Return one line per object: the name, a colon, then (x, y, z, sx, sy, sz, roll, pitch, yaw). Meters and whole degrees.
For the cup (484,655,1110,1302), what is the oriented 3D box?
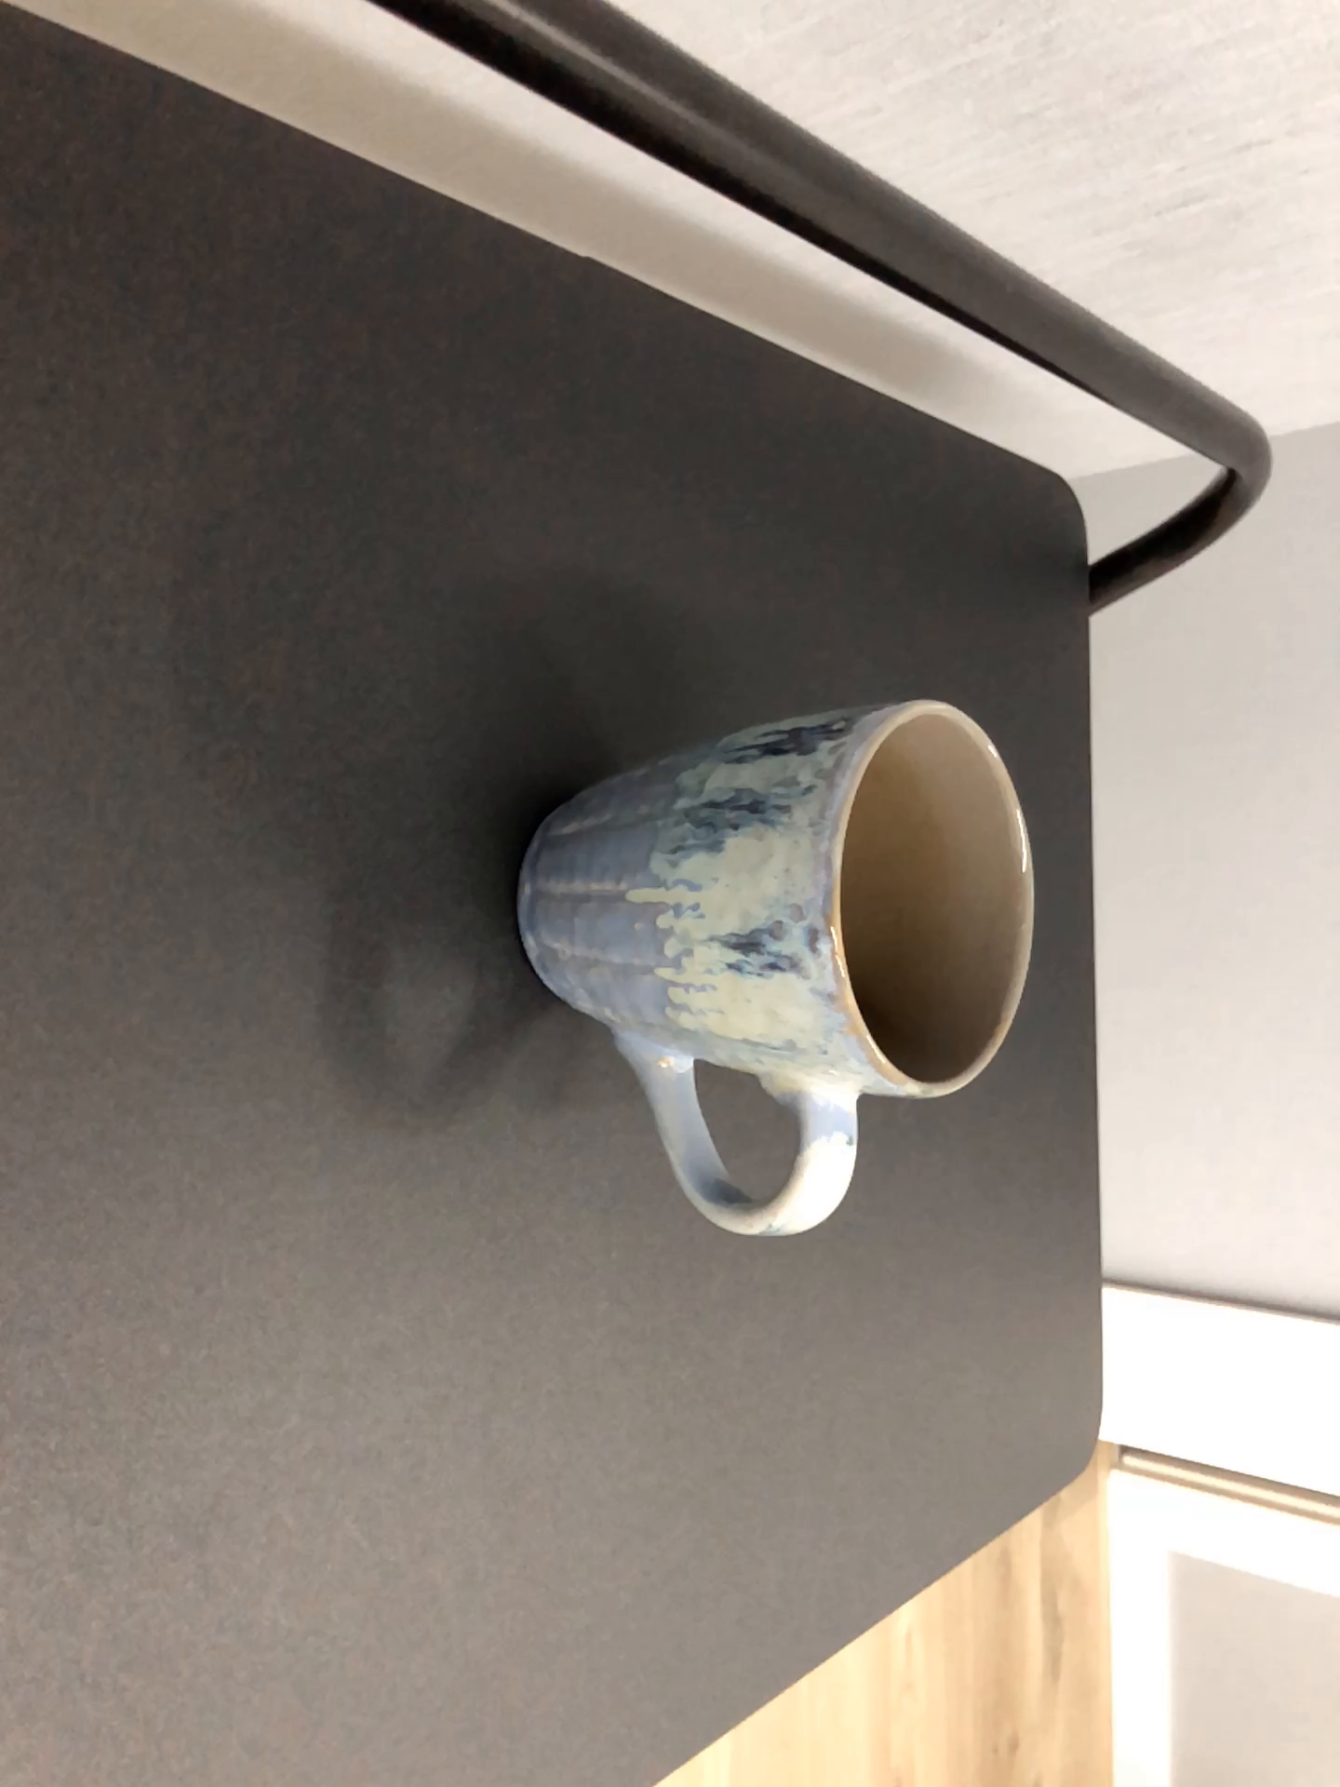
cup: (0.031, 0.022, 0.342, 0.090, 0.107, 0.120, 11, 79, -48)
